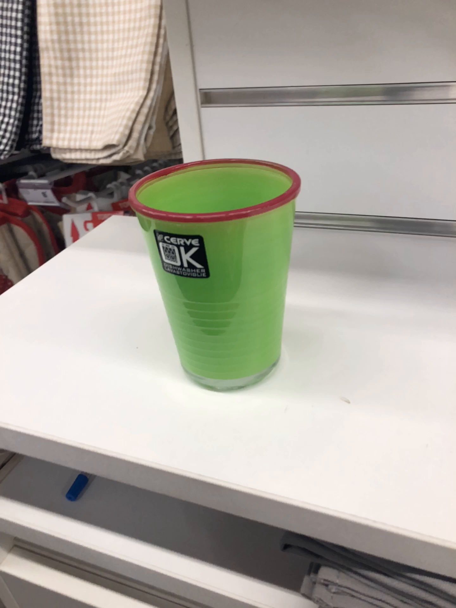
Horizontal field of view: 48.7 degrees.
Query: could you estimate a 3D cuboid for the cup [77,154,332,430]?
[{"bbox_3d":[-0.003,-0.013,0.251,0.086,0.098,0.083,-5,31,3],"label":"cup"}]
